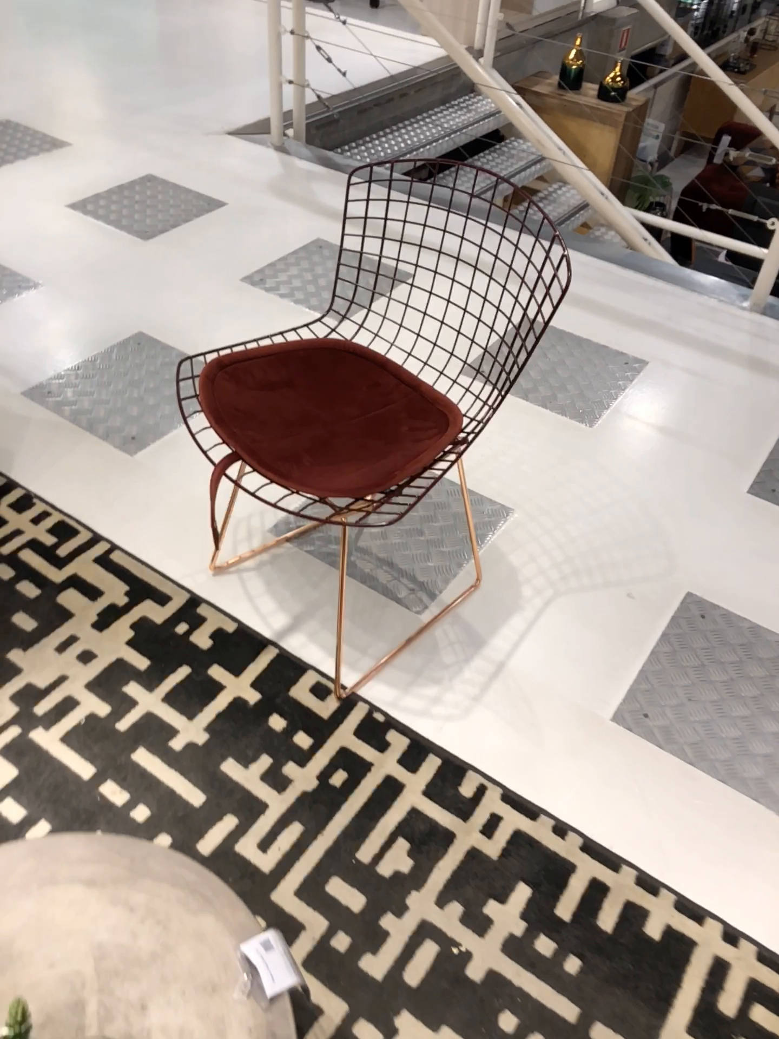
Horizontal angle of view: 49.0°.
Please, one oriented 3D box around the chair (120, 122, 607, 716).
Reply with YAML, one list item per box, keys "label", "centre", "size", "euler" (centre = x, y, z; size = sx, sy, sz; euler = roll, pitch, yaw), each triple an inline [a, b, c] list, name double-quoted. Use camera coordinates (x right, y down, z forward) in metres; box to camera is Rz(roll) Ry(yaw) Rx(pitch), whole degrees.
- label: "chair"
  centre: [-0.064, -0.180, 1.503]
  size: [0.502, 0.764, 0.512]
  euler: [-28, 52, -31]
